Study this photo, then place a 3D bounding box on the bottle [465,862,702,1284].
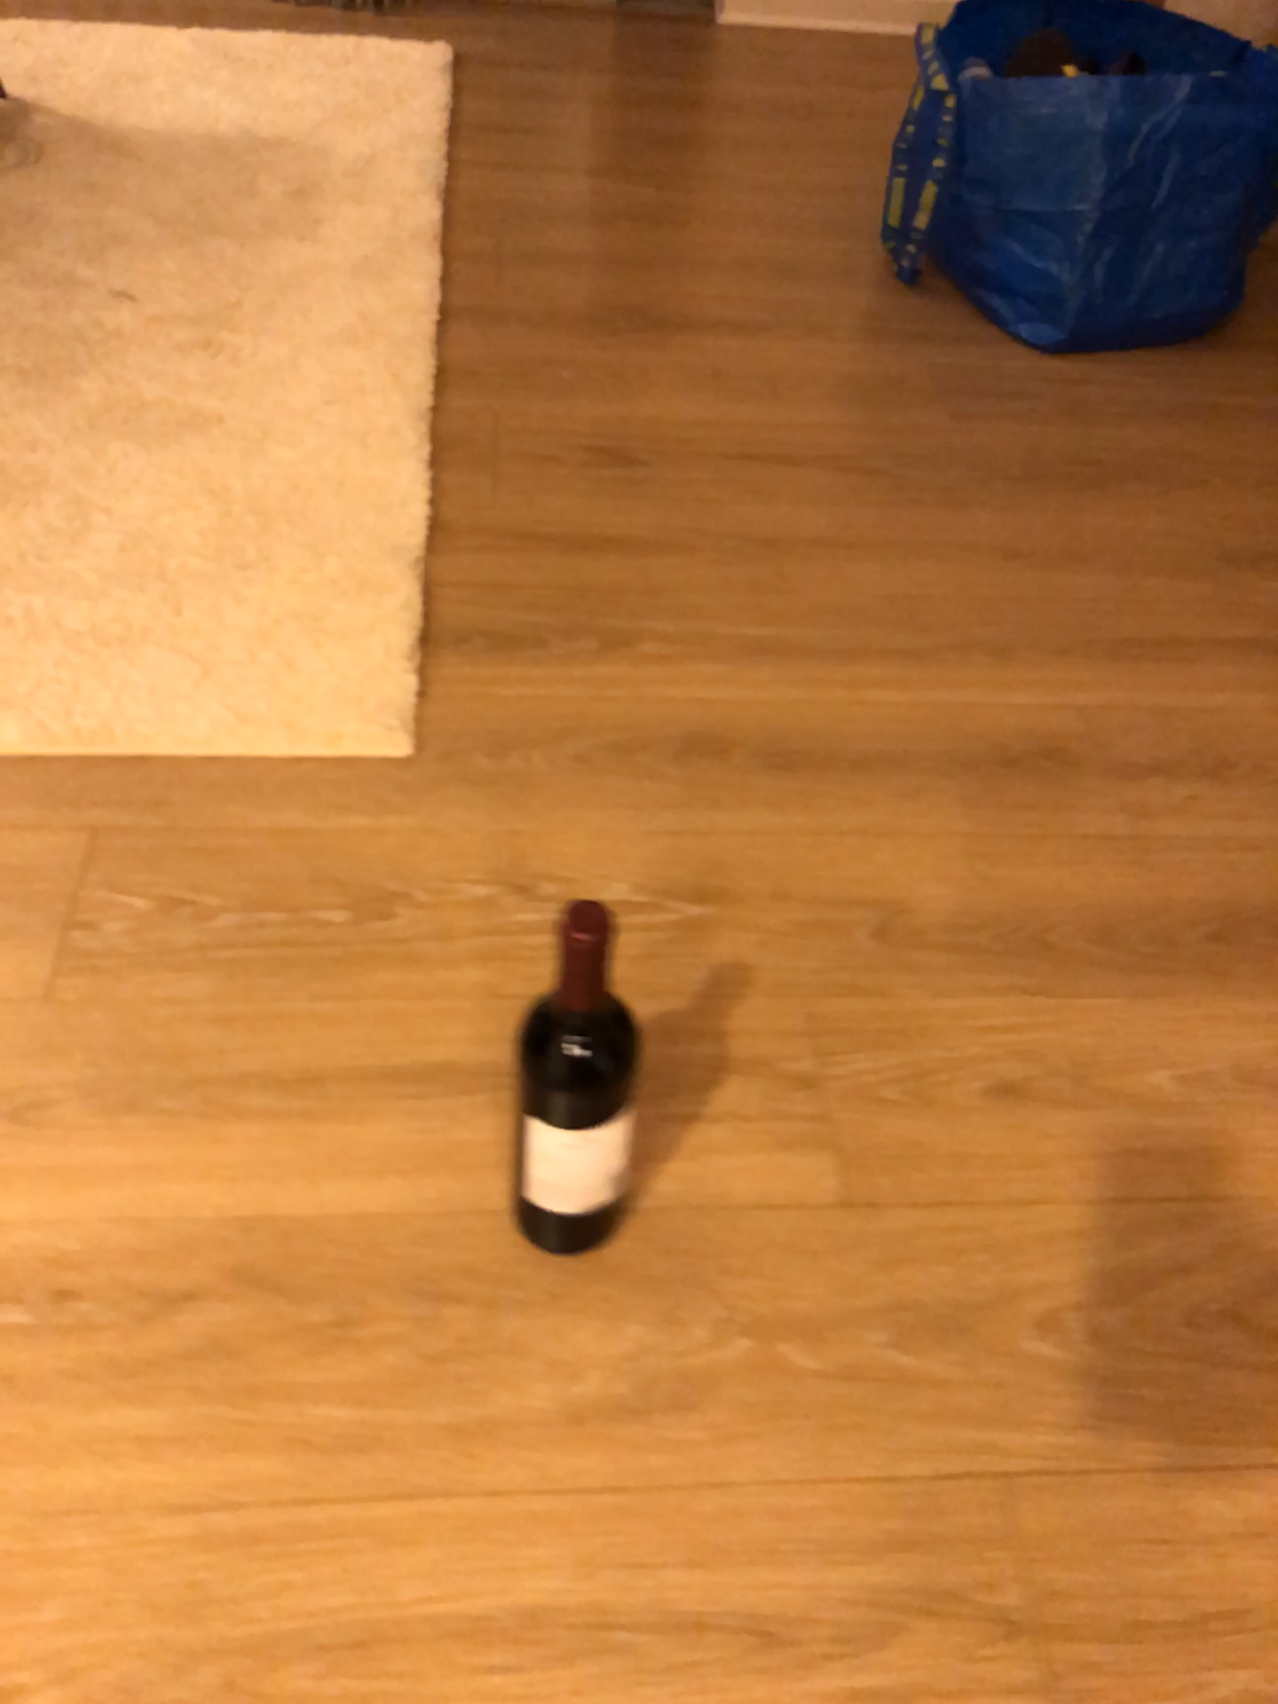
[{"bbox_3d":[-0.037,0.143,0.872,0.110,0.259,0.101,3,44,-3],"label":"bottle"}]
